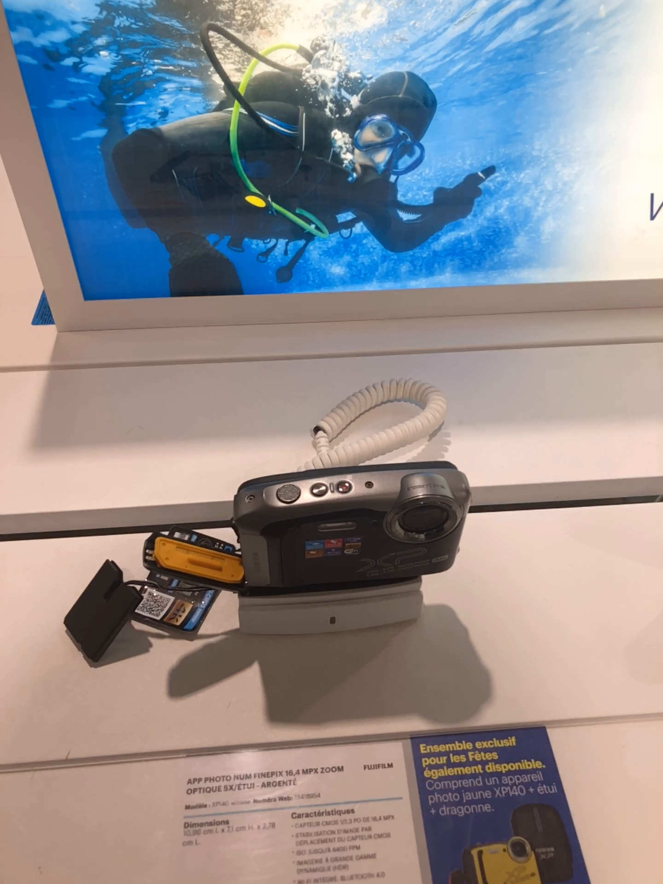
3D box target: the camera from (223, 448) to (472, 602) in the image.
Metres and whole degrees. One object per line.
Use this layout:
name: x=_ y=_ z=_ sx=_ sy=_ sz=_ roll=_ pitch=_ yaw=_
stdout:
camera: x=0.006 y=0.040 z=0.341 sx=0.106 sy=0.069 sz=0.023 roll=-5 pitch=45 yaw=-5
